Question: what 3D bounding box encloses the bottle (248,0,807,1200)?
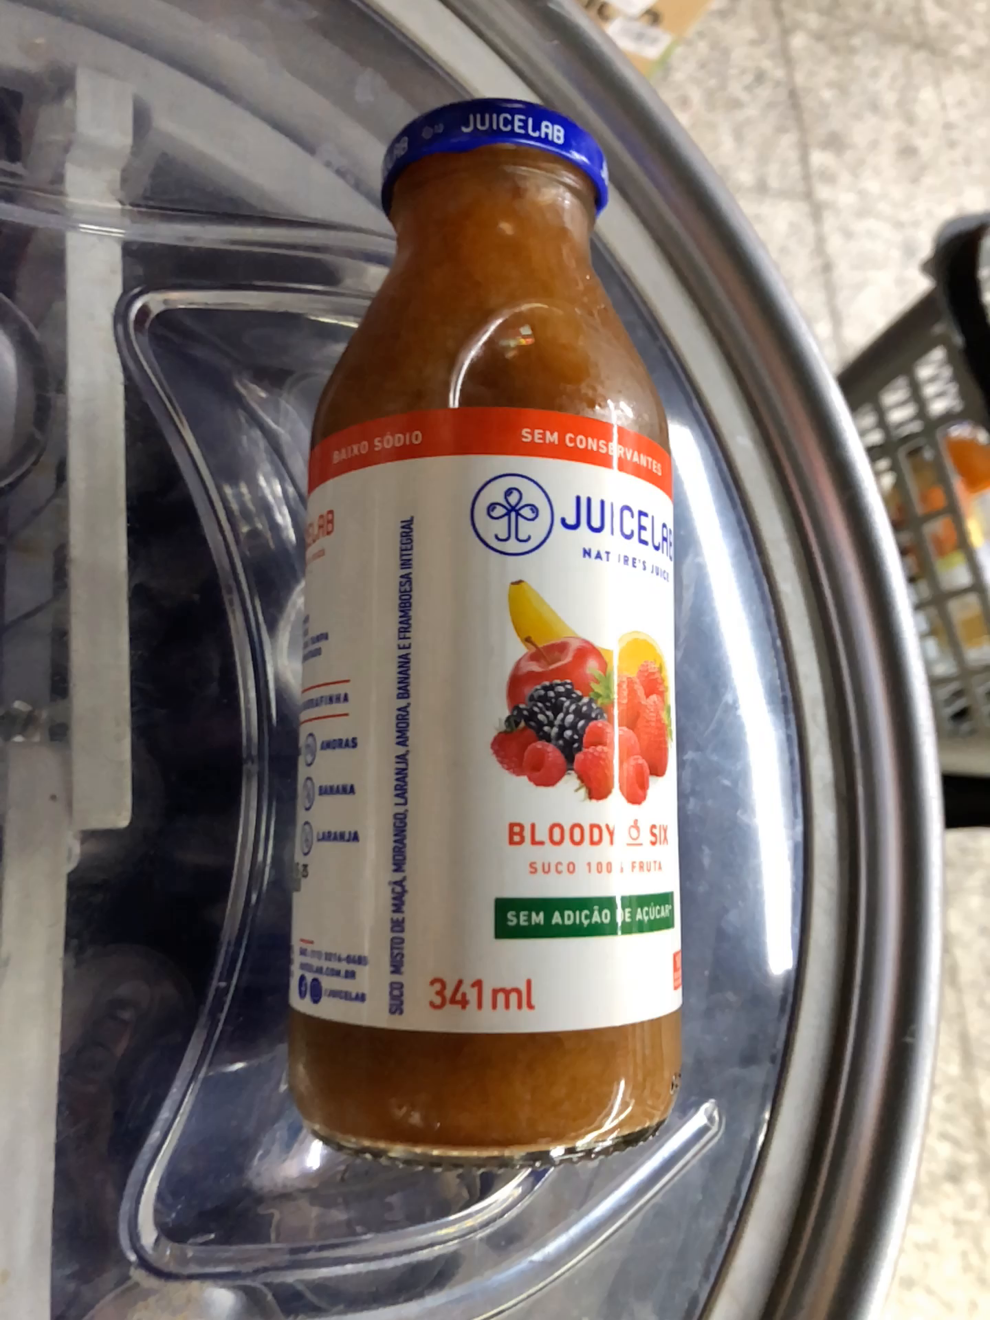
[{"bbox_3d":[0.004,-0.019,0.200,0.070,0.060,0.190,8,76,-42],"label":"bottle"}]
